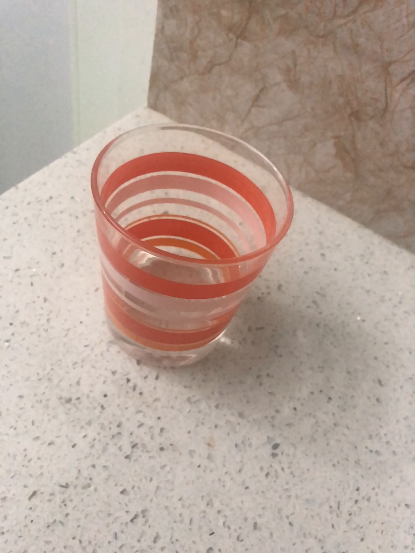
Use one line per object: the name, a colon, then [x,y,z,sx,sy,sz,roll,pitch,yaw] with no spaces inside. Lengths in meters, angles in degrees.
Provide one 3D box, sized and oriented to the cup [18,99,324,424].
cup: [-0.016,-0.006,0.212,0.090,0.090,0.080,26,50,7]
